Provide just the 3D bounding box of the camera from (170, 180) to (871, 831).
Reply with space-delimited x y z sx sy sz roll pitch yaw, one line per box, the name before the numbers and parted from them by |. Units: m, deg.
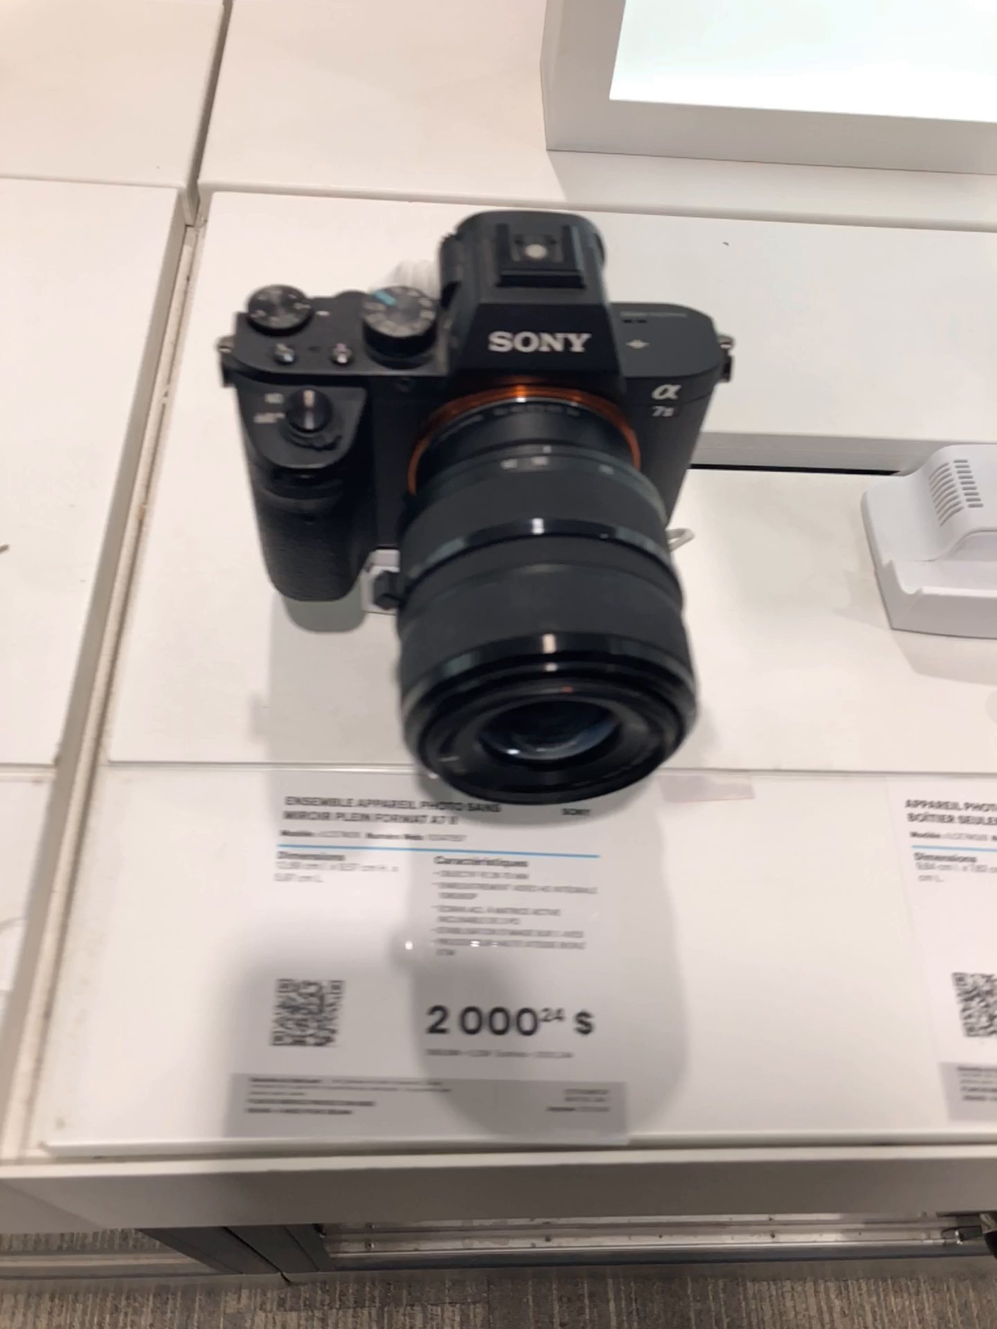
camera | -0.002 -0.040 0.285 0.134 0.099 0.131 -1 57 -6
